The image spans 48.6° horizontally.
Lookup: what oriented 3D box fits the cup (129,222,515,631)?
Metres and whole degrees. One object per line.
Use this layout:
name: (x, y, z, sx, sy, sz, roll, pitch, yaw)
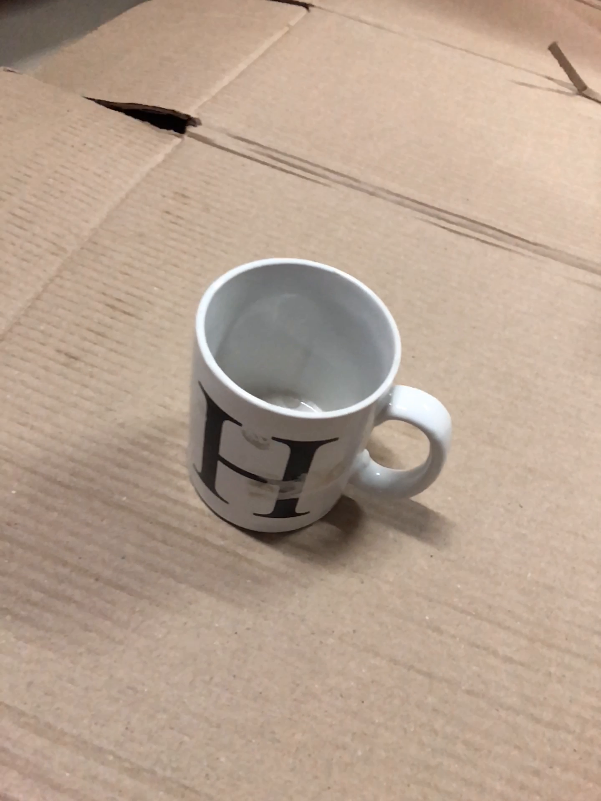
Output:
cup: (0.005, 0.011, 0.260, 0.110, 0.099, 0.080, 23, 48, 8)
